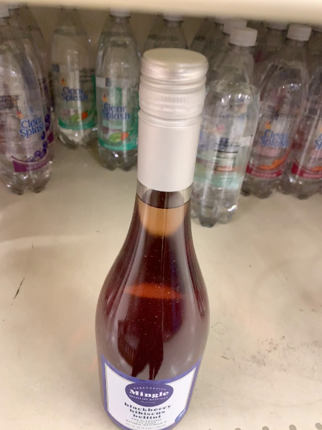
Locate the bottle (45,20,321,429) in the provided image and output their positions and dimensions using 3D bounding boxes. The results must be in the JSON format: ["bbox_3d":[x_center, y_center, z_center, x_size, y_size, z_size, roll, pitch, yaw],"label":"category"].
[{"bbox_3d":[-0.002,0.046,0.231,0.090,0.298,0.080,4,38,-2],"label":"bottle"}]
